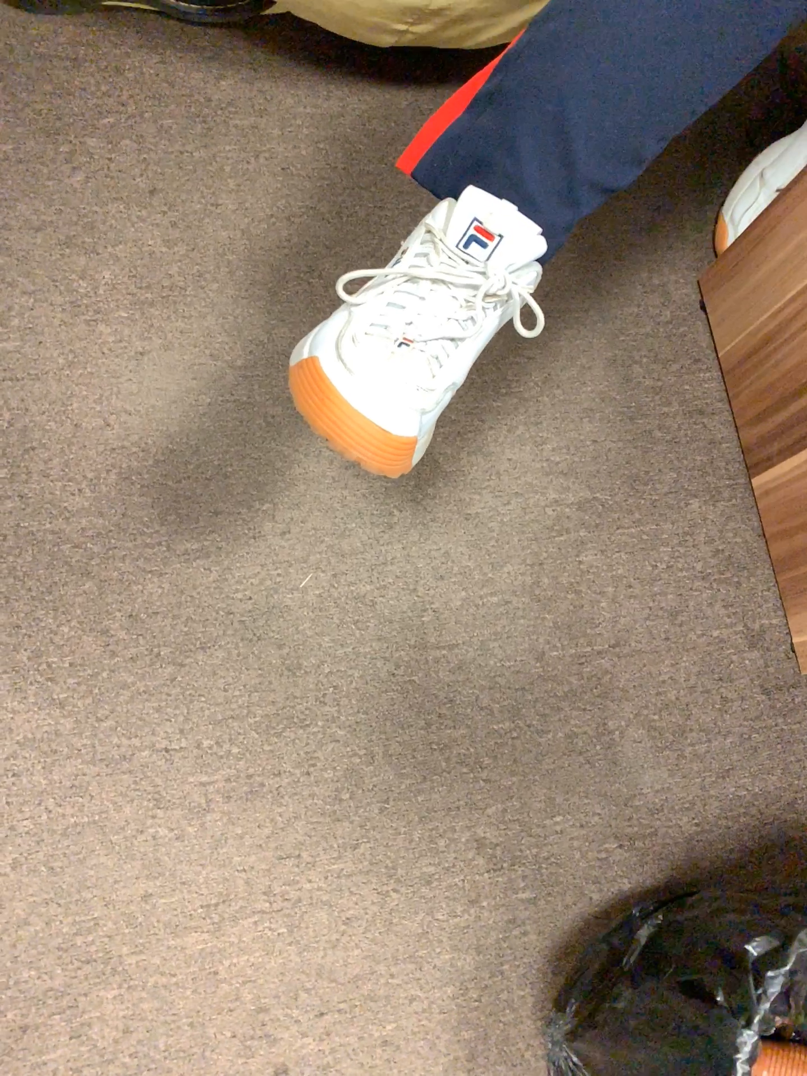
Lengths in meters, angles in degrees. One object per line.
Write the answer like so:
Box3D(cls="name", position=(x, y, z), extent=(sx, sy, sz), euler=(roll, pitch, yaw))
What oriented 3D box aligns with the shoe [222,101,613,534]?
Box3D(cls="shoe", position=(0.018, -0.147, 0.526), extent=(0.130, 0.130, 0.230), euler=(37, 48, -8))
